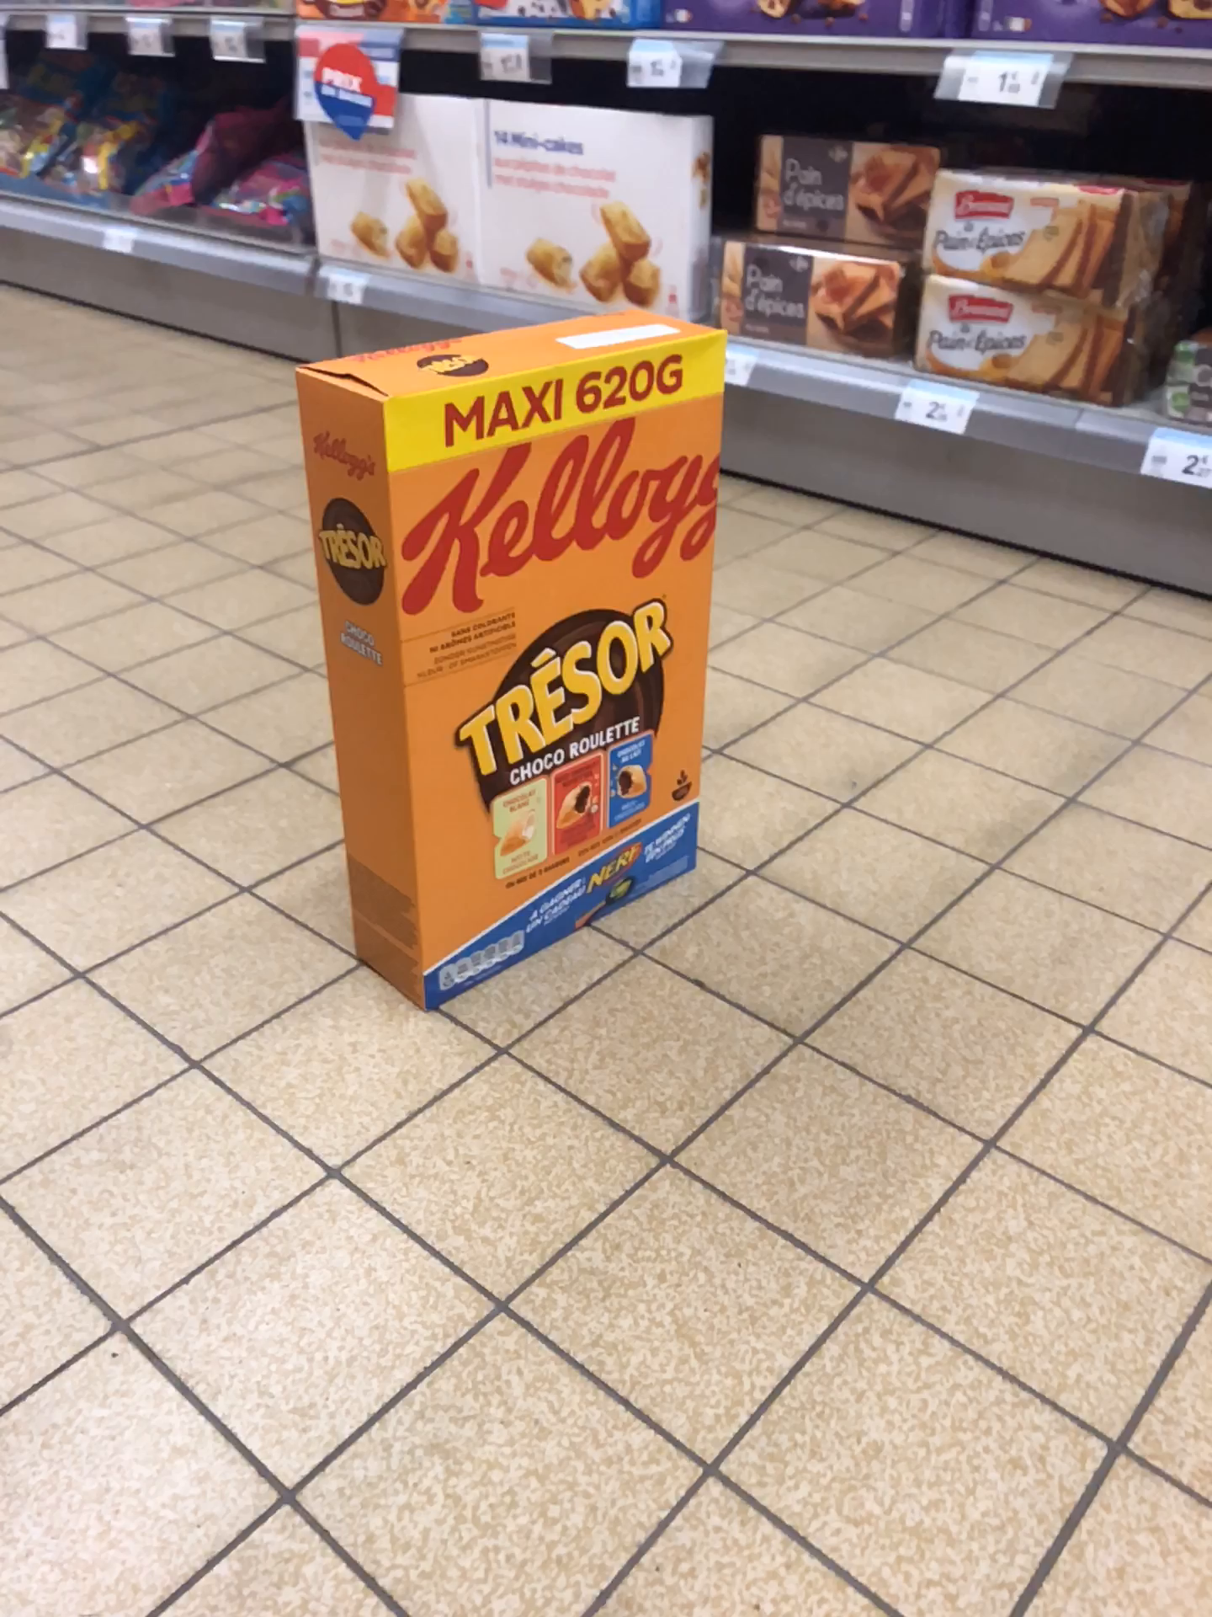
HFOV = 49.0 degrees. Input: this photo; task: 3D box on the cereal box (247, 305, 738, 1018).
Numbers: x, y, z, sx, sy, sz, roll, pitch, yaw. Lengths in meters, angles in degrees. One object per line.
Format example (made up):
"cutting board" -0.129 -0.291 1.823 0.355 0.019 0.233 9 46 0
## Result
"cereal box" -0.043 -0.073 0.643 0.211 0.288 0.070 -24 39 -35
